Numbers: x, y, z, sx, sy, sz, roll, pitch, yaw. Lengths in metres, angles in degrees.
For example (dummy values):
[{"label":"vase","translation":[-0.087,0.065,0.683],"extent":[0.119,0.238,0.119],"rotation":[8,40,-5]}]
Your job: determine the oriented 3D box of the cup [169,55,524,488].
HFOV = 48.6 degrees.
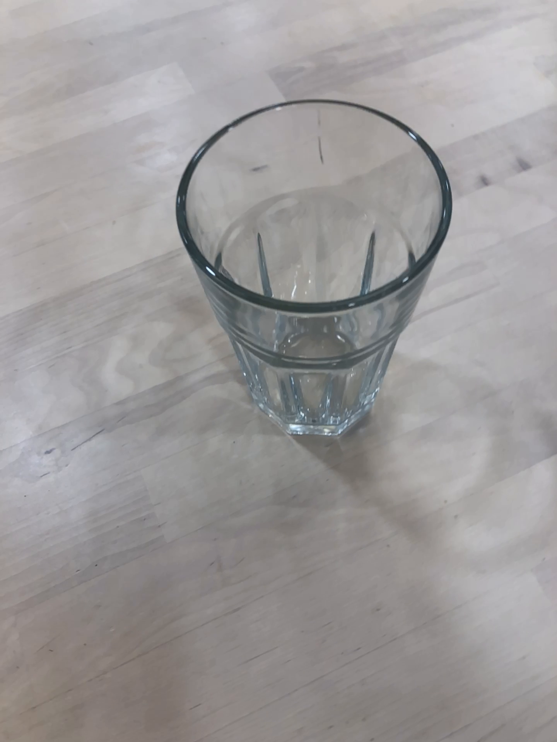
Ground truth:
[{"label":"cup","translation":[0.020,-0.025,0.262],"extent":[0.090,0.159,0.090],"rotation":[-1,63,3]}]
